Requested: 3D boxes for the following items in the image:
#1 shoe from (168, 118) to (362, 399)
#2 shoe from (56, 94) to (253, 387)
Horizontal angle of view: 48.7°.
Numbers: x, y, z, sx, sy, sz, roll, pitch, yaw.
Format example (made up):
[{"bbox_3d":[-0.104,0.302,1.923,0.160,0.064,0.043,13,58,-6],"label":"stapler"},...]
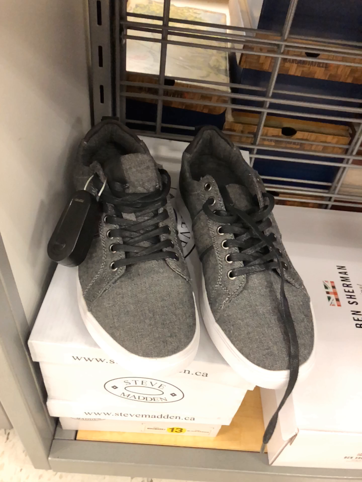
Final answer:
[{"bbox_3d":[0.063,-0.003,0.384,0.100,0.106,0.255,-4,47,-13],"label":"shoe"},{"bbox_3d":[-0.045,-0.022,0.365,0.110,0.106,0.255,-6,48,-15],"label":"shoe"}]
